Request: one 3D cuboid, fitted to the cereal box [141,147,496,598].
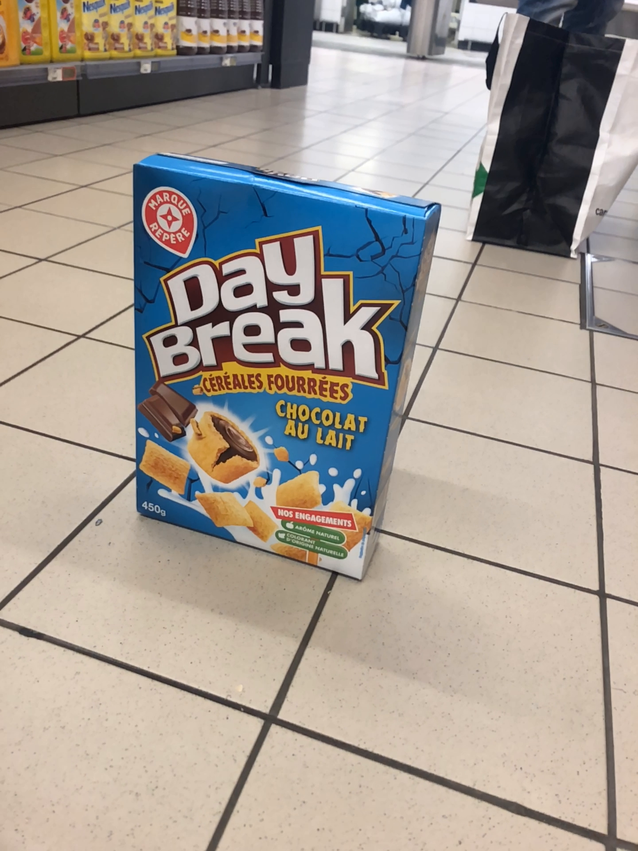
[{"bbox_3d":[-0.012,-0.034,0.477,0.200,0.258,0.070,15,29,14],"label":"cereal box"}]
